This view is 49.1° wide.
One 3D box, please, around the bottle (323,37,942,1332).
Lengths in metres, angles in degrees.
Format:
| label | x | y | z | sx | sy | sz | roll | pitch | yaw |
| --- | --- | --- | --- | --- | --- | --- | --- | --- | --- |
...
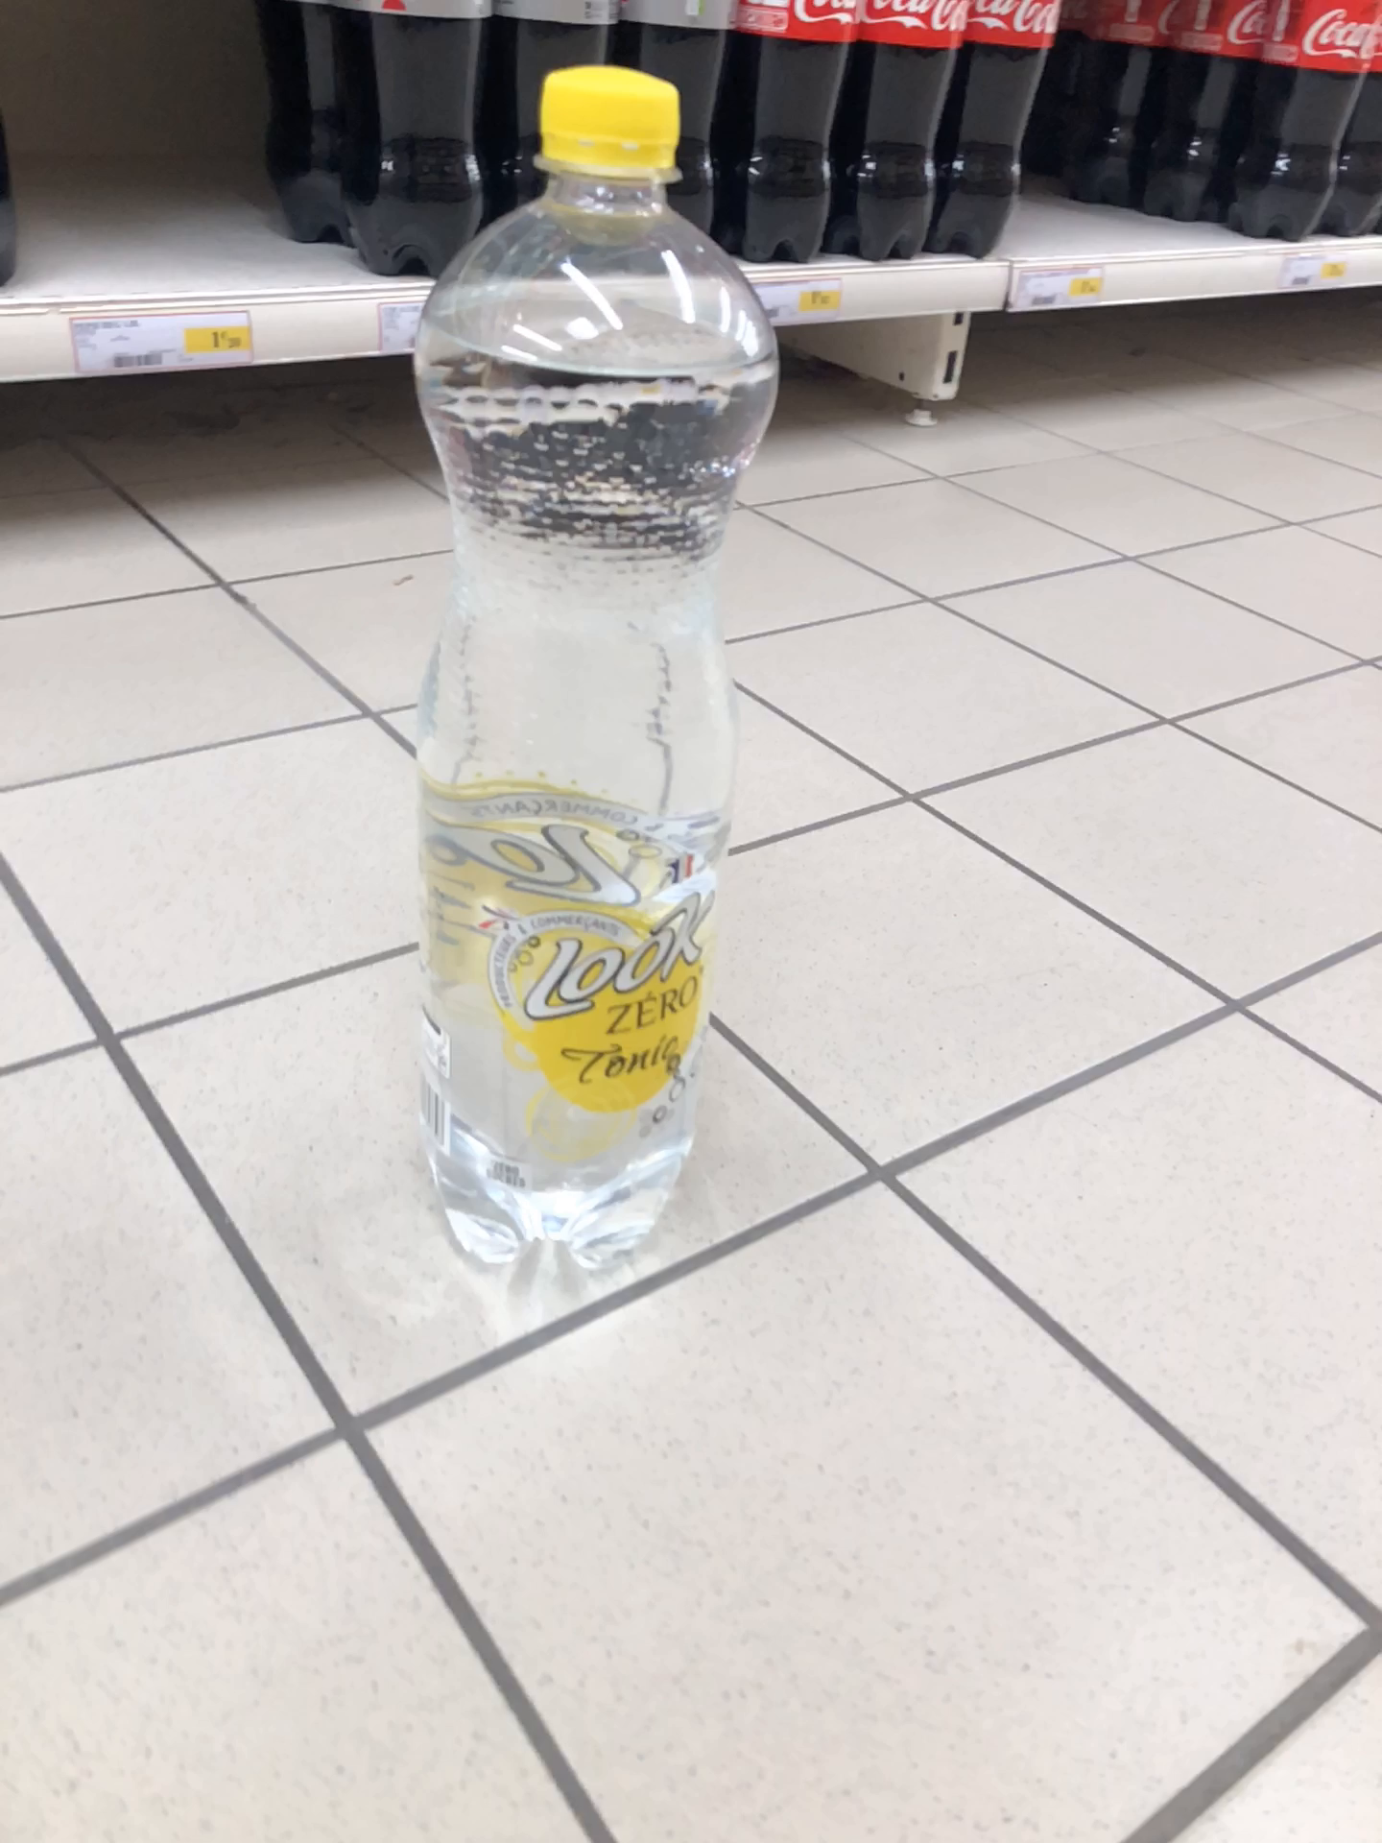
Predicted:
| label | x | y | z | sx | sy | sz | roll | pitch | yaw |
| --- | --- | --- | --- | --- | --- | --- | --- | --- | --- |
| bottle | -0.029 | -0.051 | 0.414 | 0.100 | 0.318 | 0.100 | 4 | 32 | -3 |
